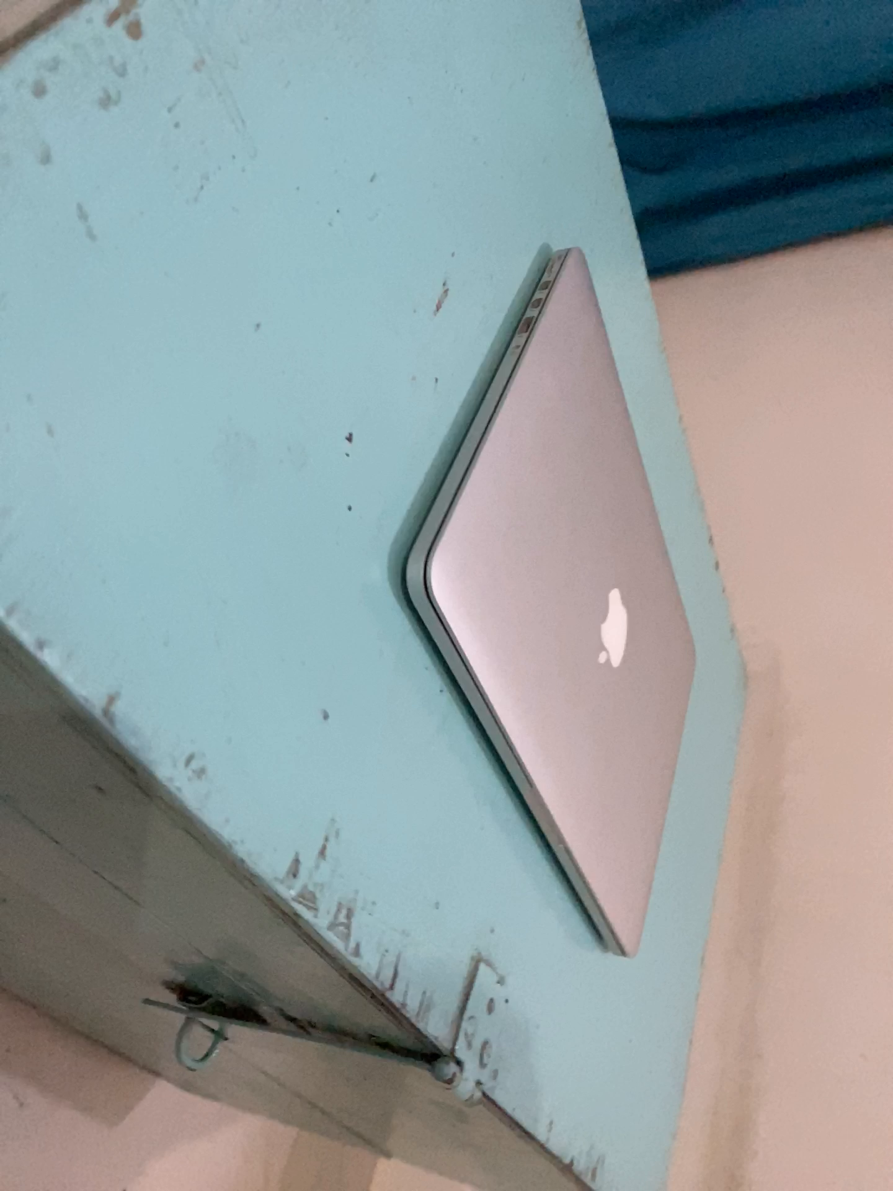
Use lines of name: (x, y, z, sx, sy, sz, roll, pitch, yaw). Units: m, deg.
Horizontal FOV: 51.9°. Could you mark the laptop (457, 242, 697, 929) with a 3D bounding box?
laptop: (0.087, 0.009, 0.462, 0.292, 0.007, 0.209, 62, 37, -43)
